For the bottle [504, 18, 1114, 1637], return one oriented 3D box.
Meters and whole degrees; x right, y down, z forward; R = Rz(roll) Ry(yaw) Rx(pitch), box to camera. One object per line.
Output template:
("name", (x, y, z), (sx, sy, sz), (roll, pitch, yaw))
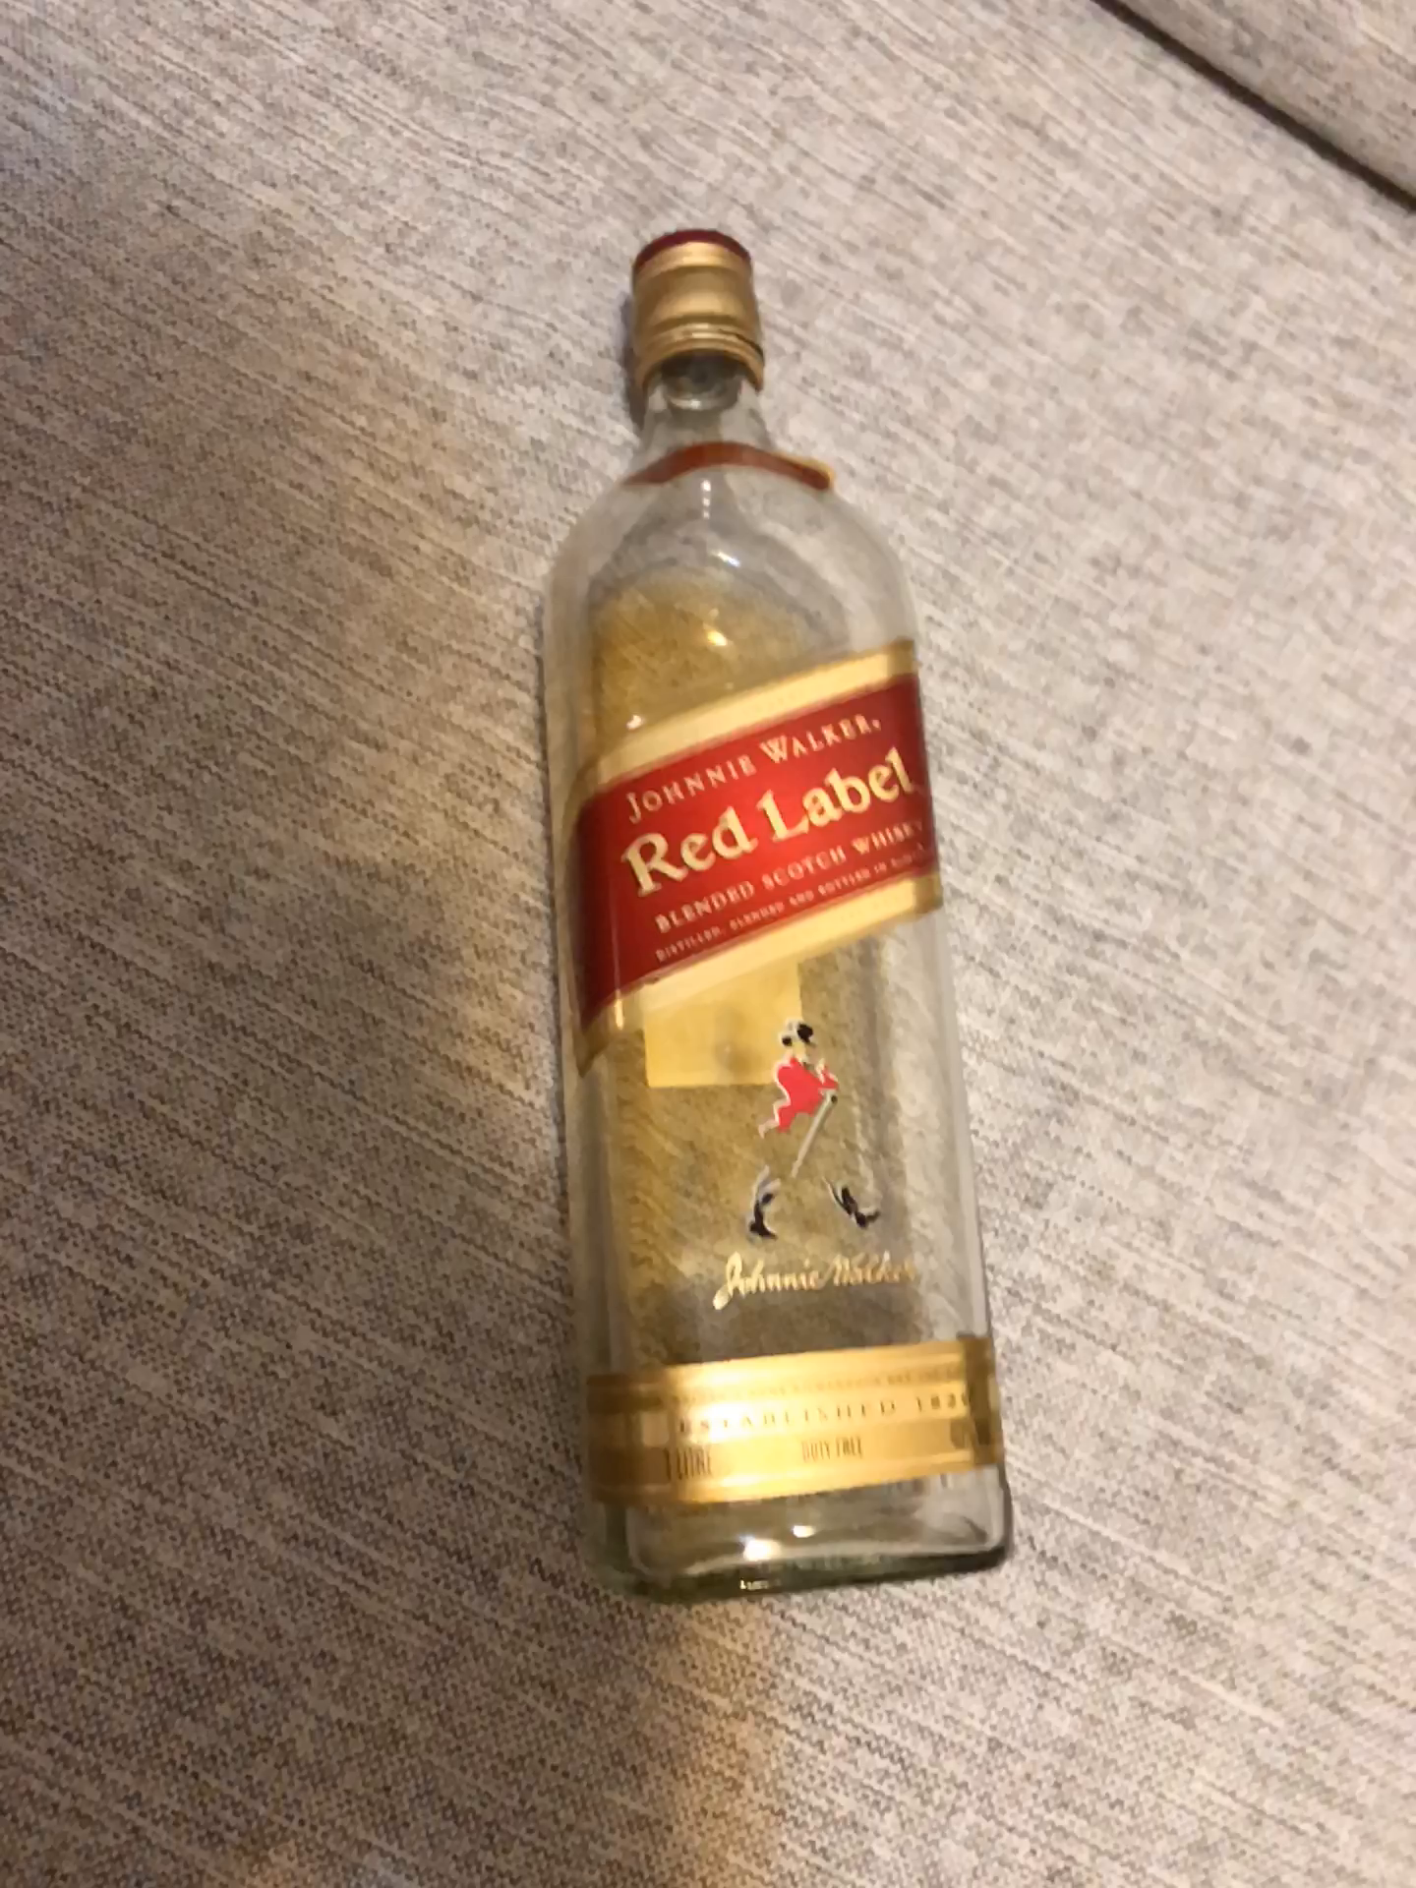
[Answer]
("bottle", (0.010, -0.031, 0.333), (0.090, 0.070, 0.310), (-1, 78, -12))
